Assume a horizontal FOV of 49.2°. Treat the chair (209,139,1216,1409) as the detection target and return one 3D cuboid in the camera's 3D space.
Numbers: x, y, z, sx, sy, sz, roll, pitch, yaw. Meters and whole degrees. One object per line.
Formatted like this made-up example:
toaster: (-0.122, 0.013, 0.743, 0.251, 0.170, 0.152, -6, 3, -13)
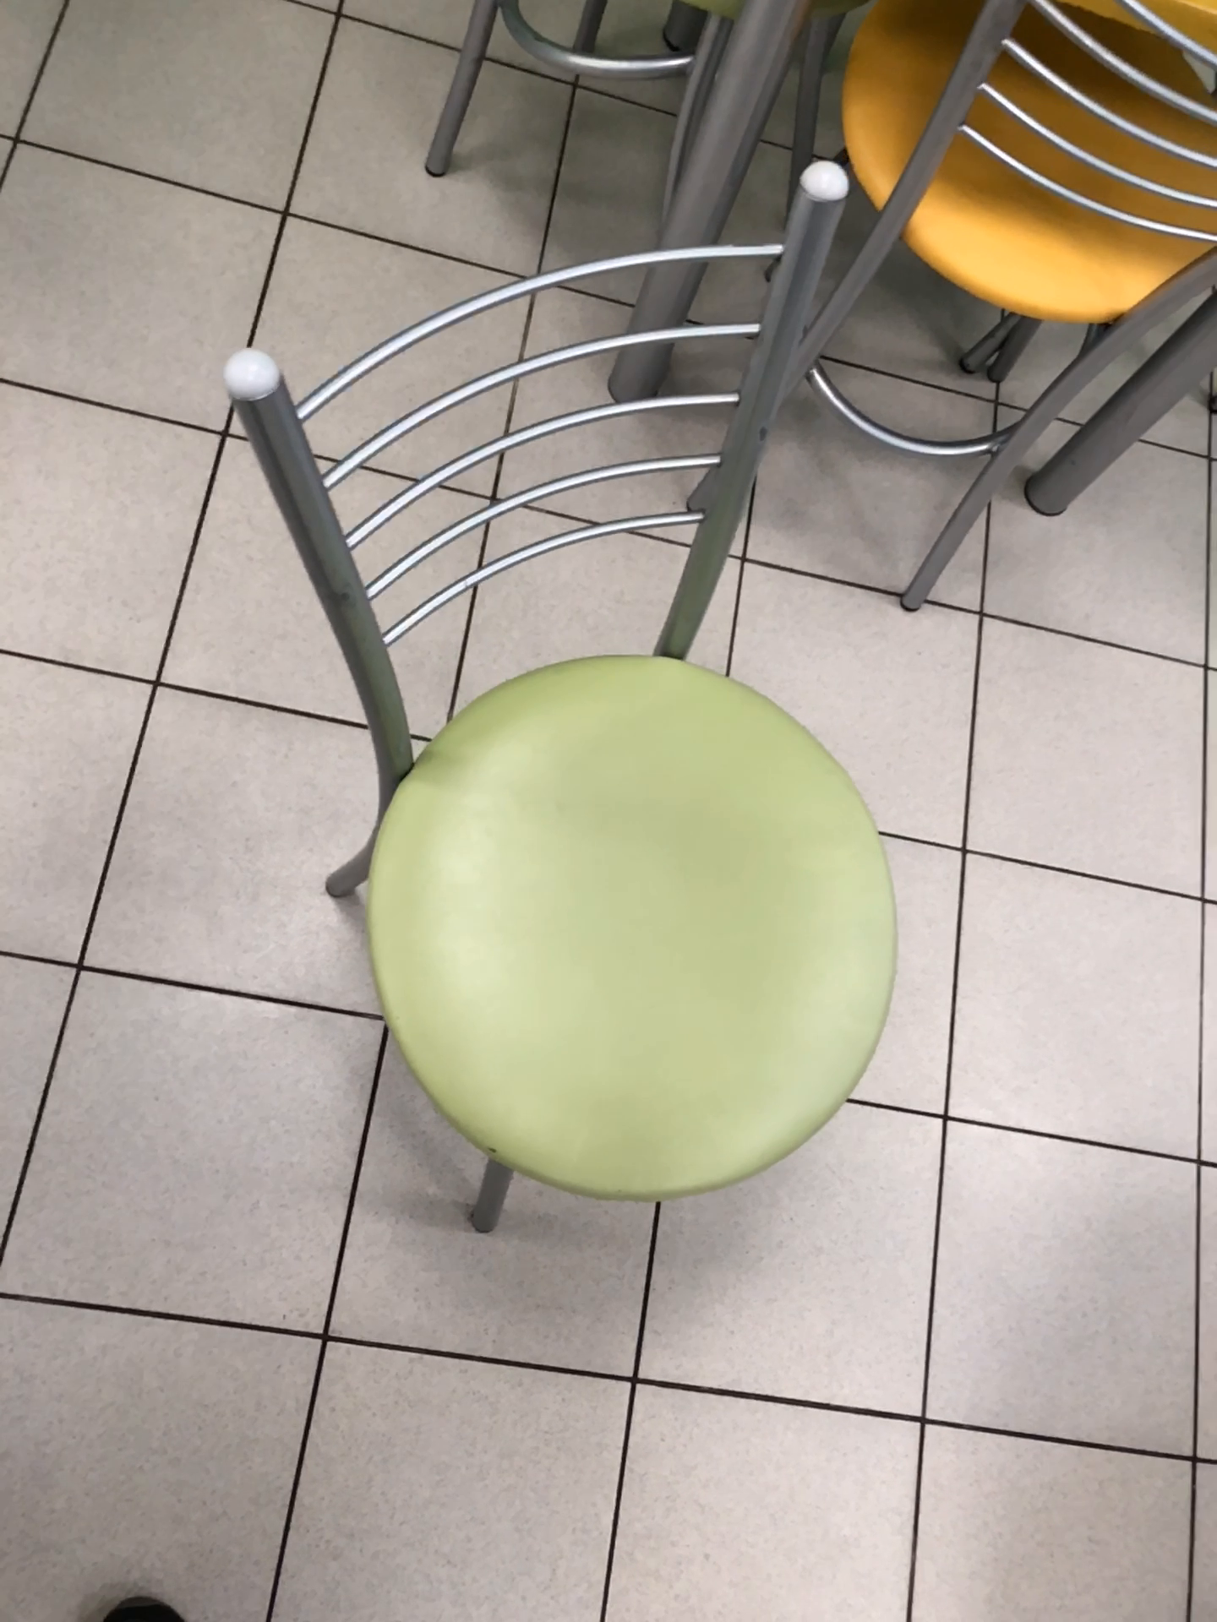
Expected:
chair: (0.014, 0.047, 0.979, 0.375, 0.828, 0.479, -23, 81, -17)
